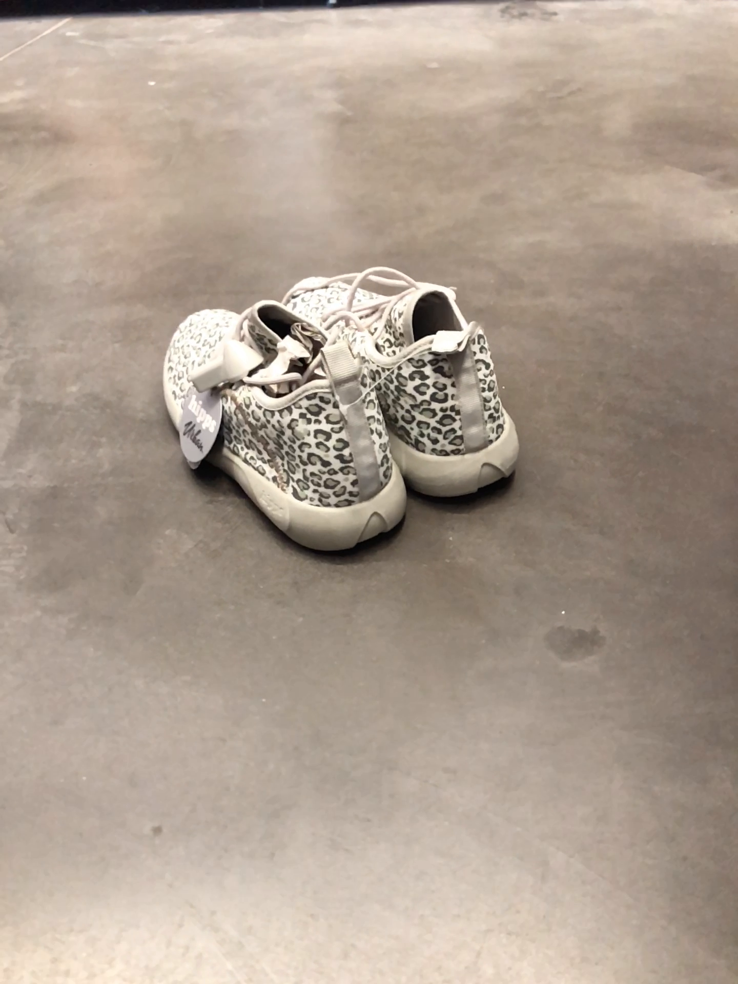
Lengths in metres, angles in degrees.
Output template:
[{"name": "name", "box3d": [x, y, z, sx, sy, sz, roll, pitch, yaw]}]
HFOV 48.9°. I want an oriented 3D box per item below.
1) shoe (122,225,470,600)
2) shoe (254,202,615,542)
[{"name": "shoe", "box3d": [-0.054, -0.066, 0.500, 0.100, 0.099, 0.251, -22, 43, -22]}, {"name": "shoe", "box3d": [0.028, -0.094, 0.535, 0.100, 0.099, 0.251, -22, 43, -22]}]
